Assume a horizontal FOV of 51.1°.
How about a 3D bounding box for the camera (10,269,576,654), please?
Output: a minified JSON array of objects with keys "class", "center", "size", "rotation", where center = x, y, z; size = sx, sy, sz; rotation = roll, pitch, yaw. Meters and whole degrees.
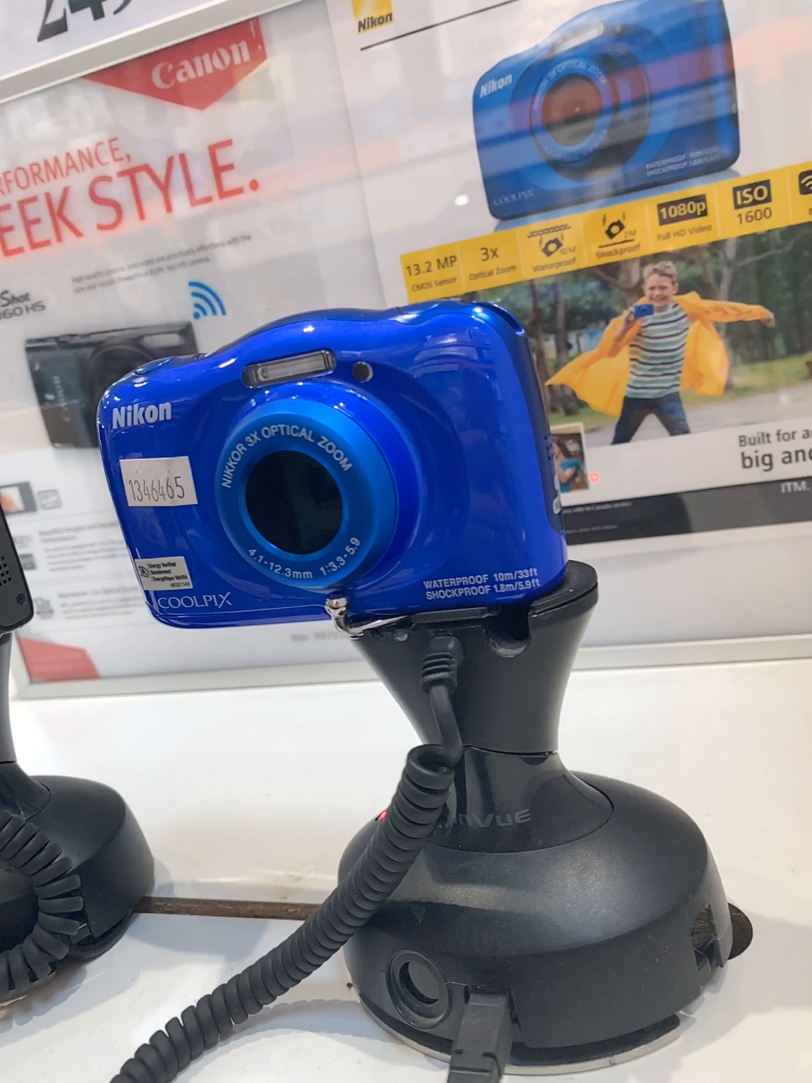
[{"class":"camera","center":[-0.021,-0.016,0.184],"size":[0.101,0.063,0.046],"rotation":[-6,14,21]}]
